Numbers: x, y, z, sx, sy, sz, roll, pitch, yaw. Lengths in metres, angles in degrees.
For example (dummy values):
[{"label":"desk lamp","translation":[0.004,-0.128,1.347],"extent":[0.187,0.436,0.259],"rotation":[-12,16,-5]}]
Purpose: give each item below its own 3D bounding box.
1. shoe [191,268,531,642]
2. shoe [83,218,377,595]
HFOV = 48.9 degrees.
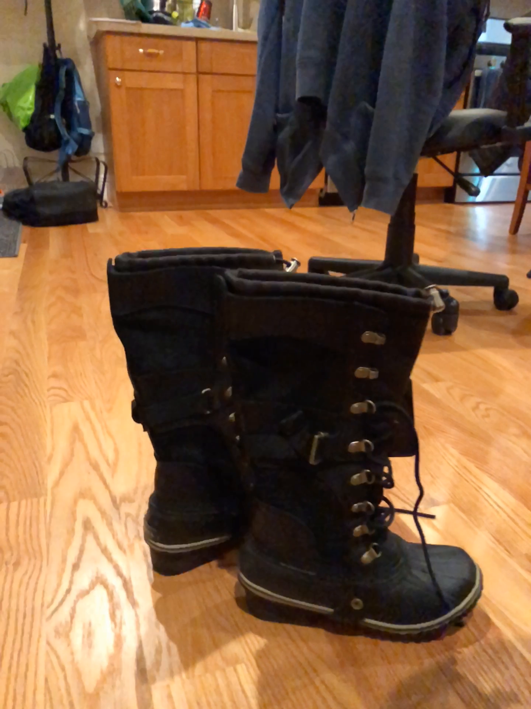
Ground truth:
[{"label":"shoe","translation":[0.073,0.088,0.513],"extent":[0.260,0.309,0.100],"rotation":[0,21,-4]},{"label":"shoe","translation":[-0.031,0.039,0.608],"extent":[0.261,0.328,0.100],"rotation":[-11,24,-29]}]
